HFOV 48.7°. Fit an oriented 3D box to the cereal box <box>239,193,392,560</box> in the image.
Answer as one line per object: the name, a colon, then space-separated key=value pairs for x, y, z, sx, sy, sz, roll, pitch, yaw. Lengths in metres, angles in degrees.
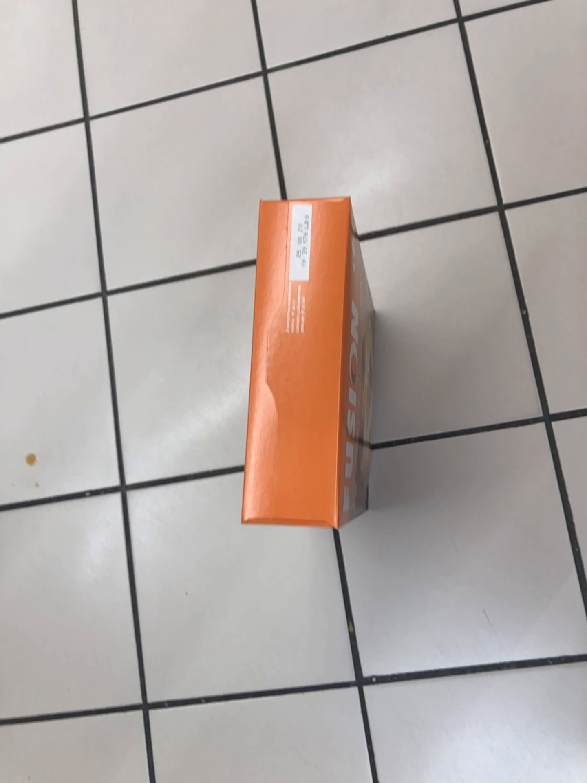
cereal box: x=0.031 y=0.004 z=0.477 sx=0.070 sy=0.250 sz=0.200 roll=2 pitch=82 yaw=10
